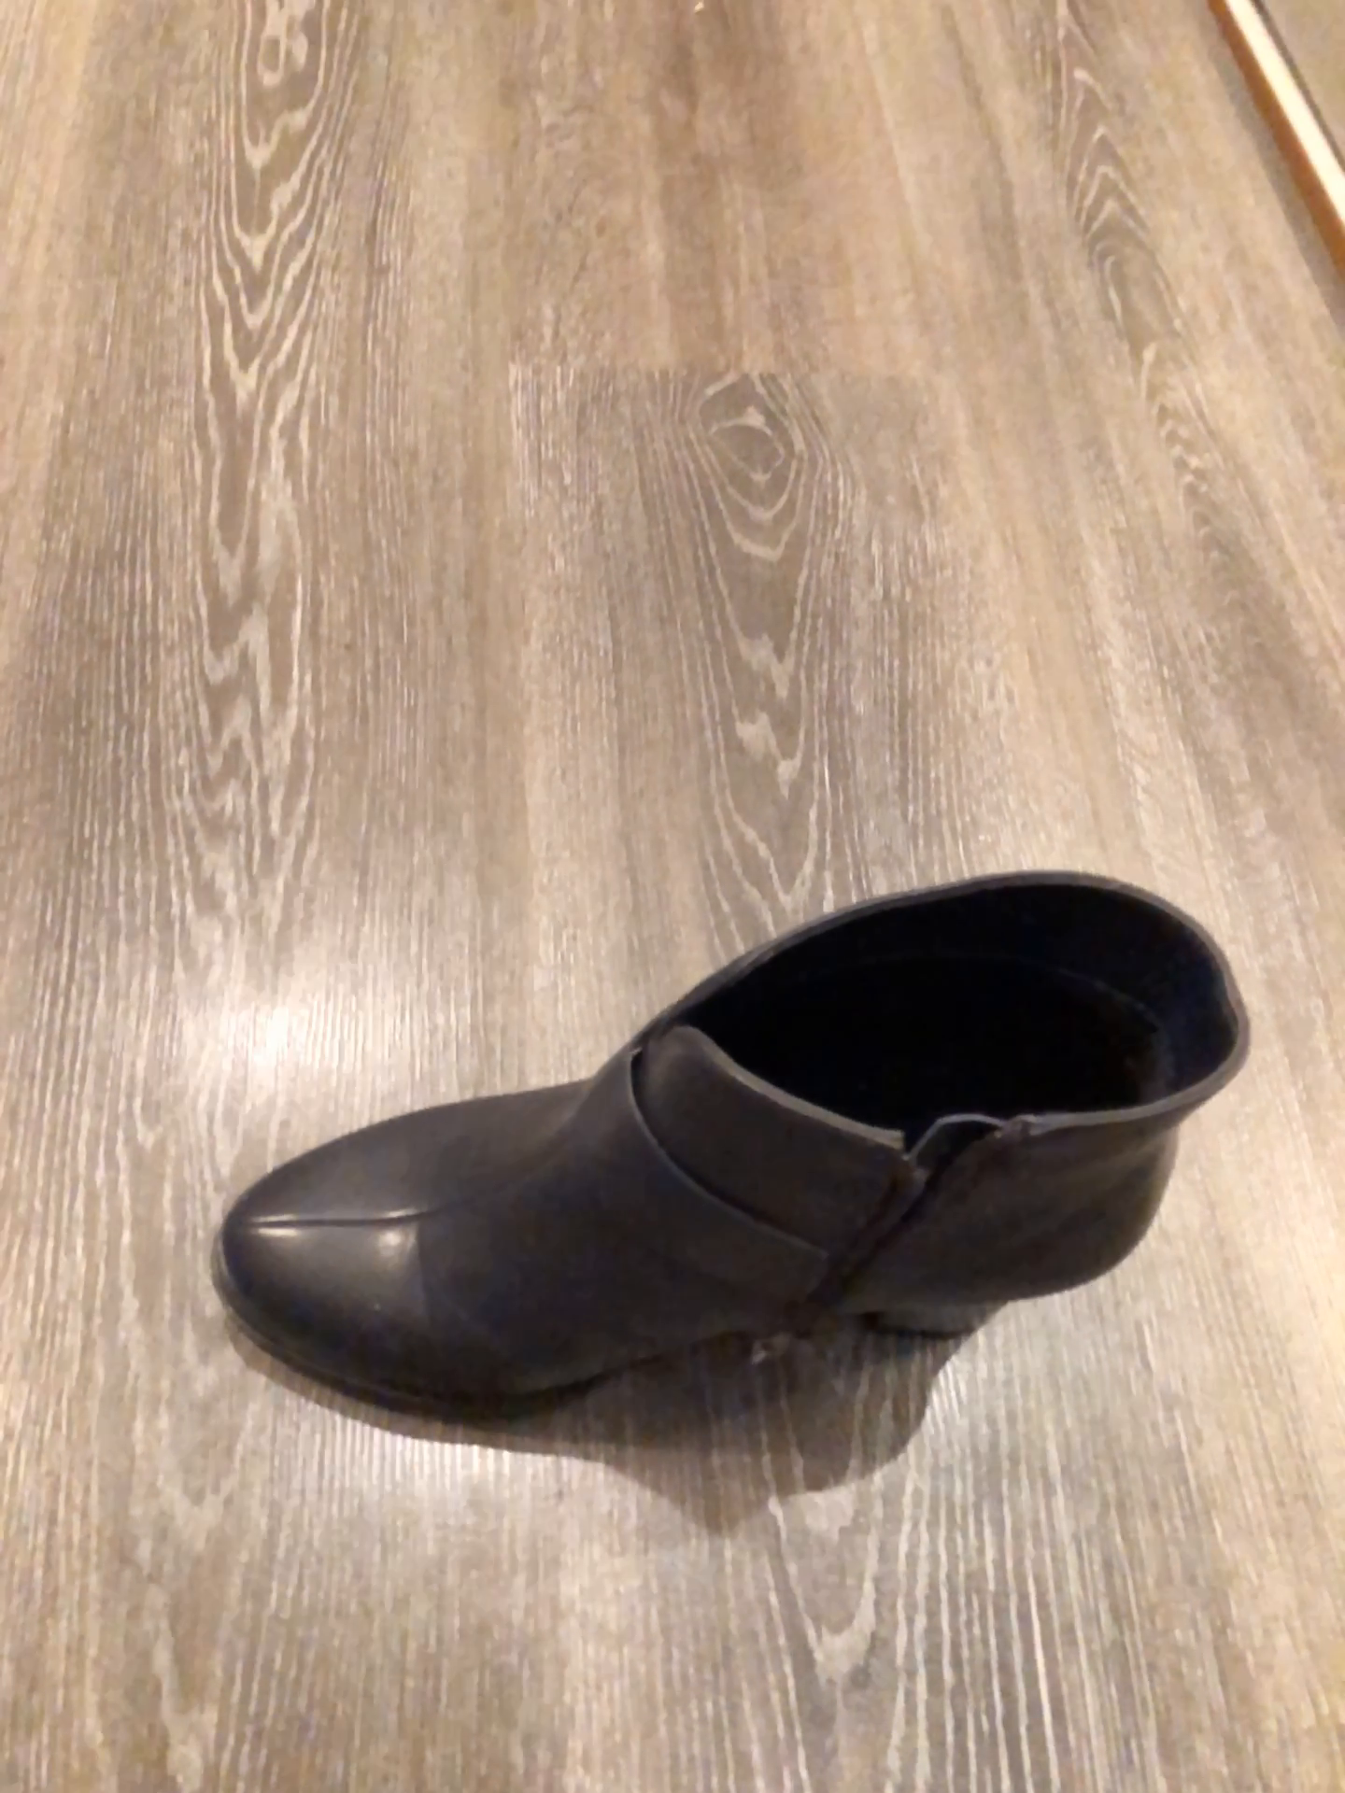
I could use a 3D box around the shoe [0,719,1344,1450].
[{"bbox_3d":[-0.003,0.054,0.345,0.240,0.189,0.090,-2,59,-8],"label":"shoe"}]
